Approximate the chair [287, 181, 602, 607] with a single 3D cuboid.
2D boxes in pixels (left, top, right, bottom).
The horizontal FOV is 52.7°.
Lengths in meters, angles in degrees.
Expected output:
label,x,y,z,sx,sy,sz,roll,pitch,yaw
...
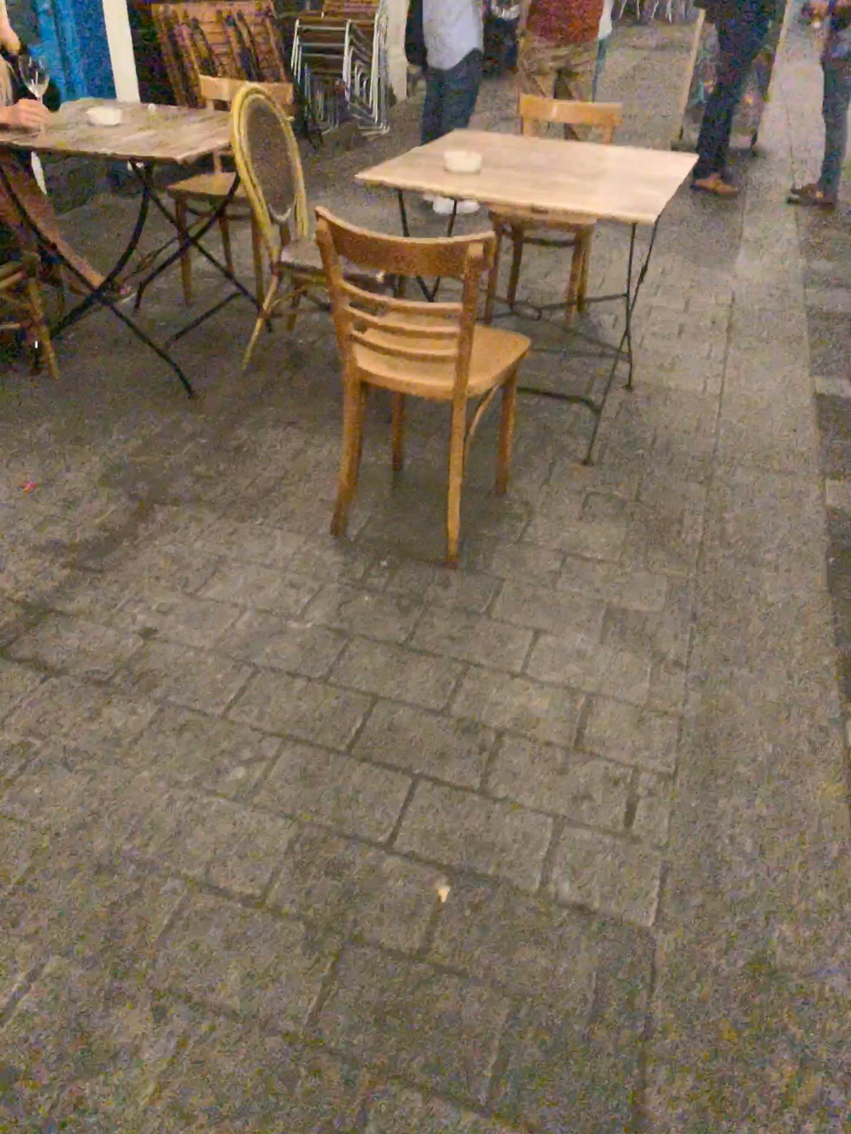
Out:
label,x,y,z,sx,sy,sz,roll,pitch,yaw
chair,0.057,-0.424,2.031,0.511,0.762,0.545,14,37,17
